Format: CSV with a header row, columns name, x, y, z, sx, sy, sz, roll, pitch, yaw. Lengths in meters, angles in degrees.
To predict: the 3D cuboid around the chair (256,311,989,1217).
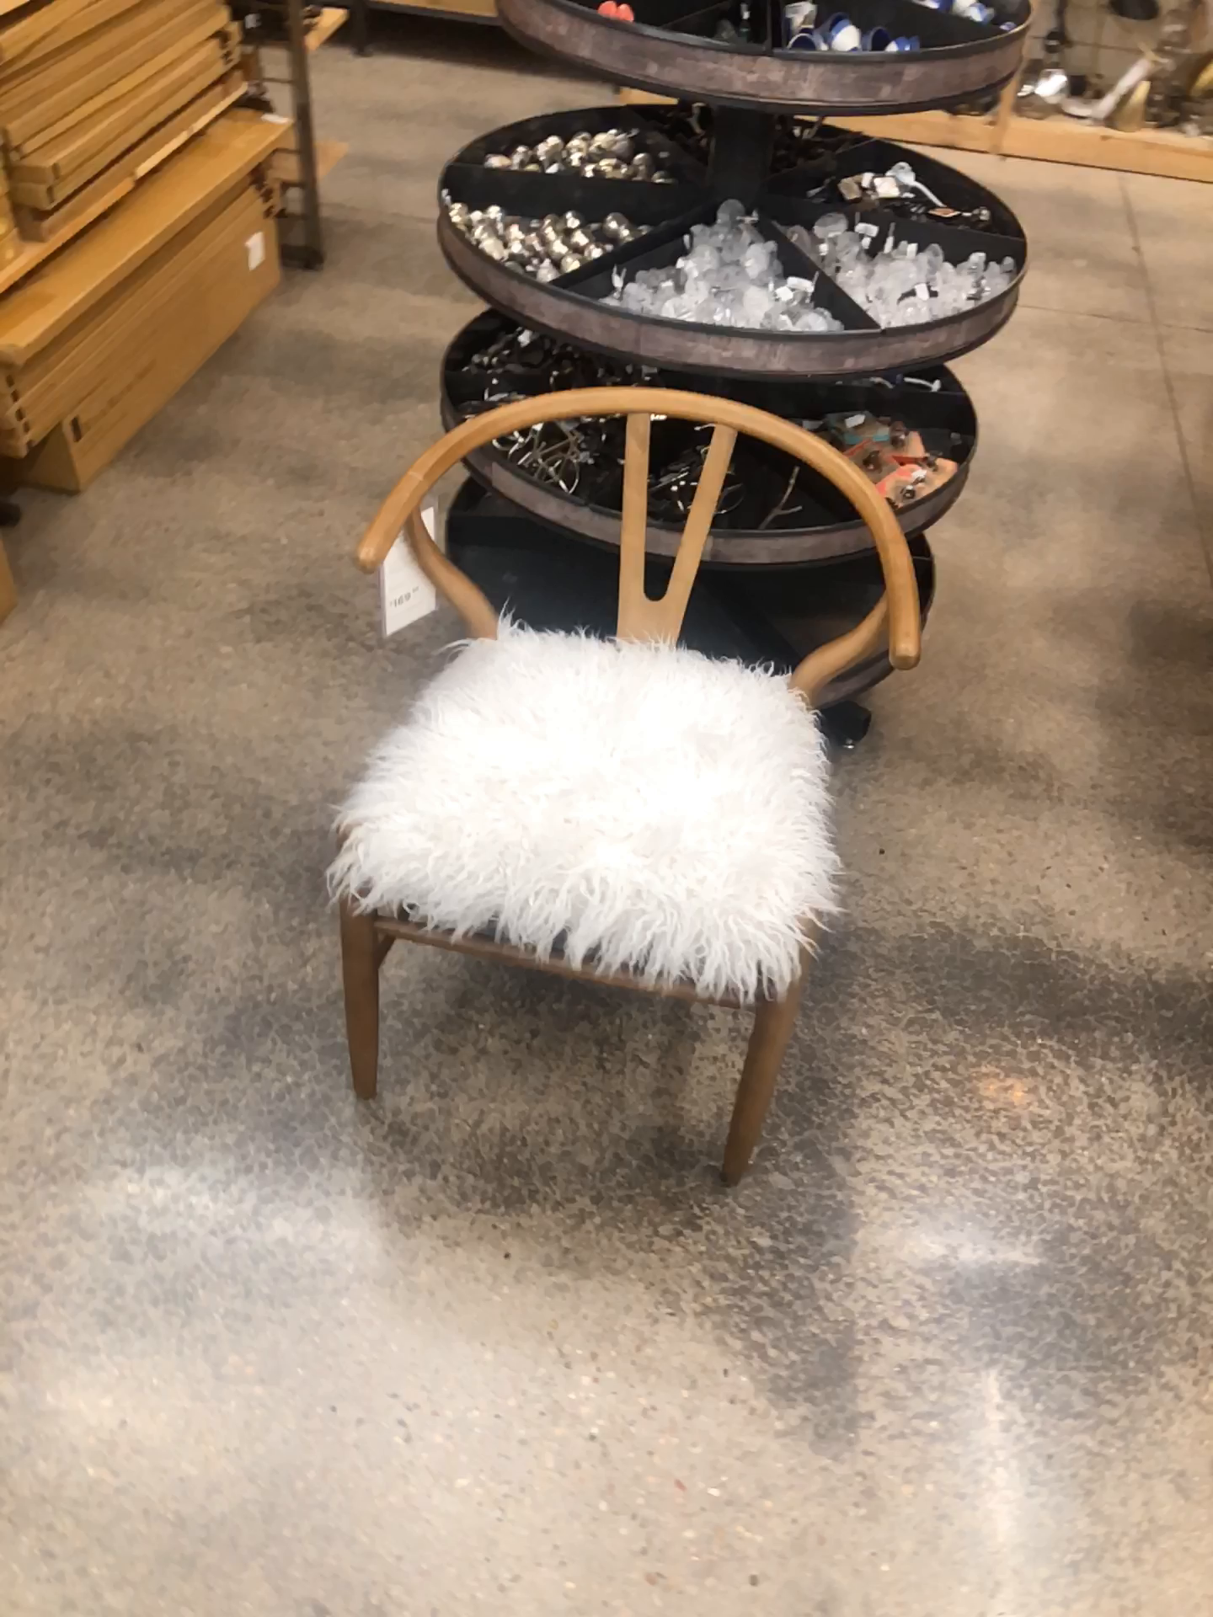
name,x,y,z,sx,sy,sz,roll,pitch,yaw
chair,0.030,-0.039,1.476,0.557,0.732,0.531,14,45,8
